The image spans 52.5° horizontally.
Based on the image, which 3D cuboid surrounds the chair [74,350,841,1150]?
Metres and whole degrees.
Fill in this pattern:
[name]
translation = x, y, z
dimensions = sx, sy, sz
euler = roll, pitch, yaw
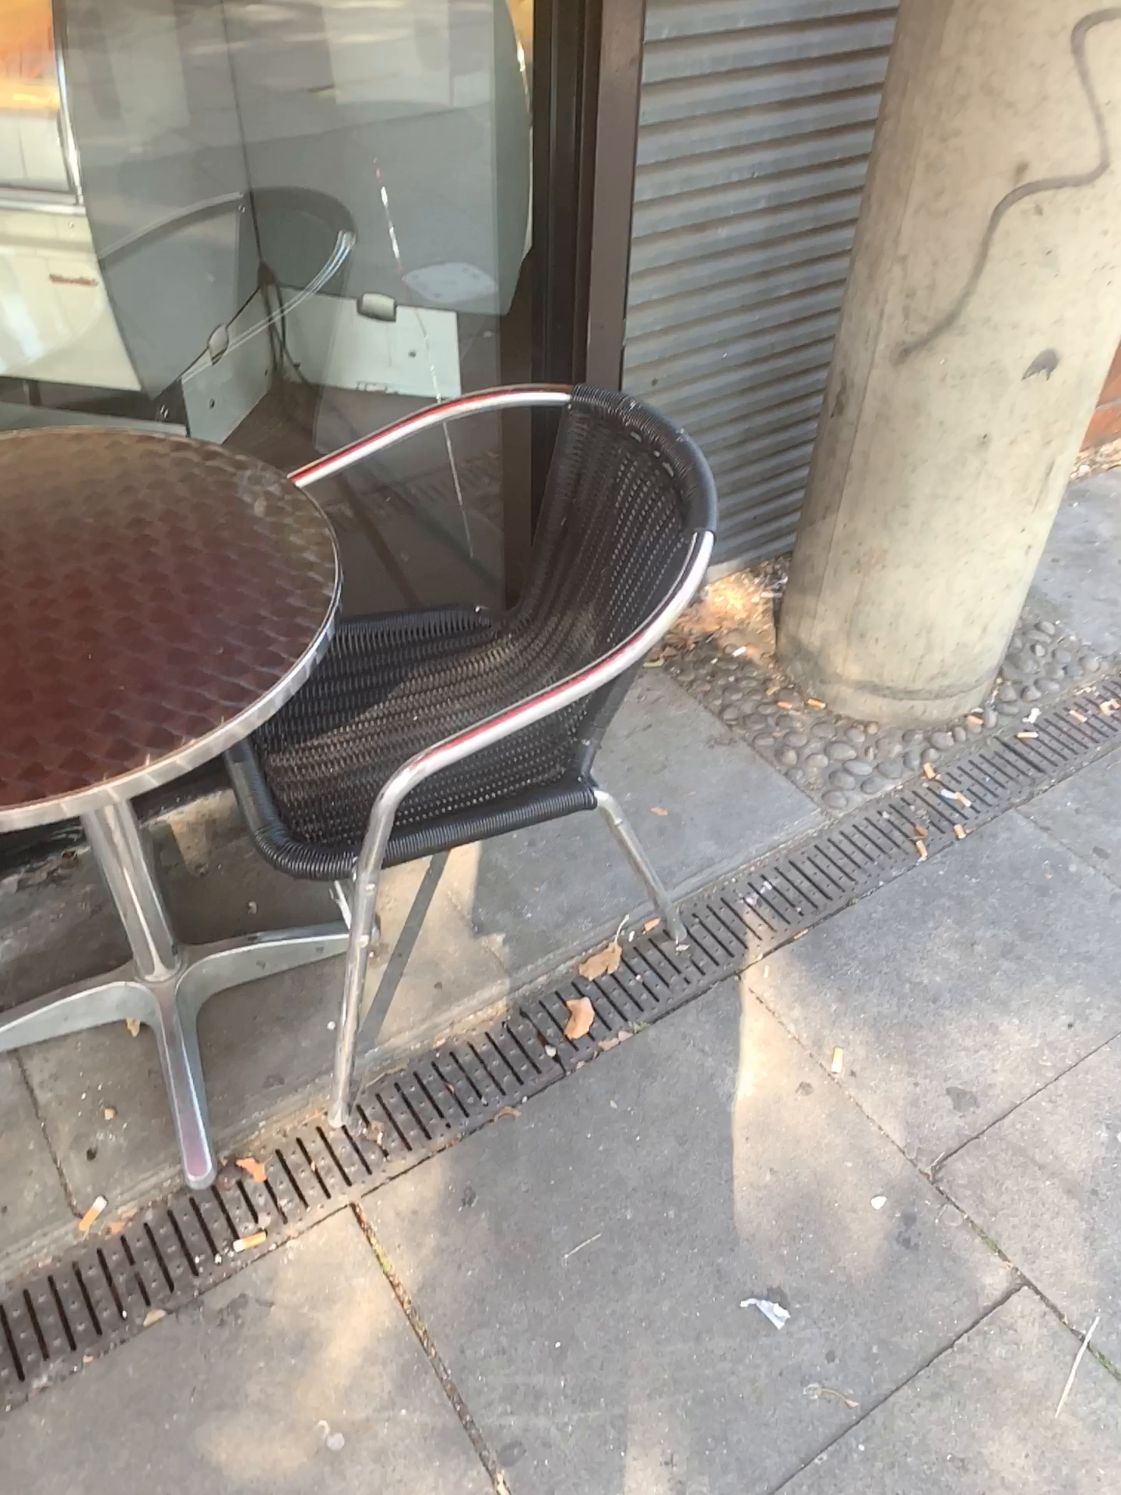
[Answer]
[chair]
translation = -0.146, -0.035, 1.424
dimensions = 0.641, 0.604, 0.605
euler = -18, 45, -20
